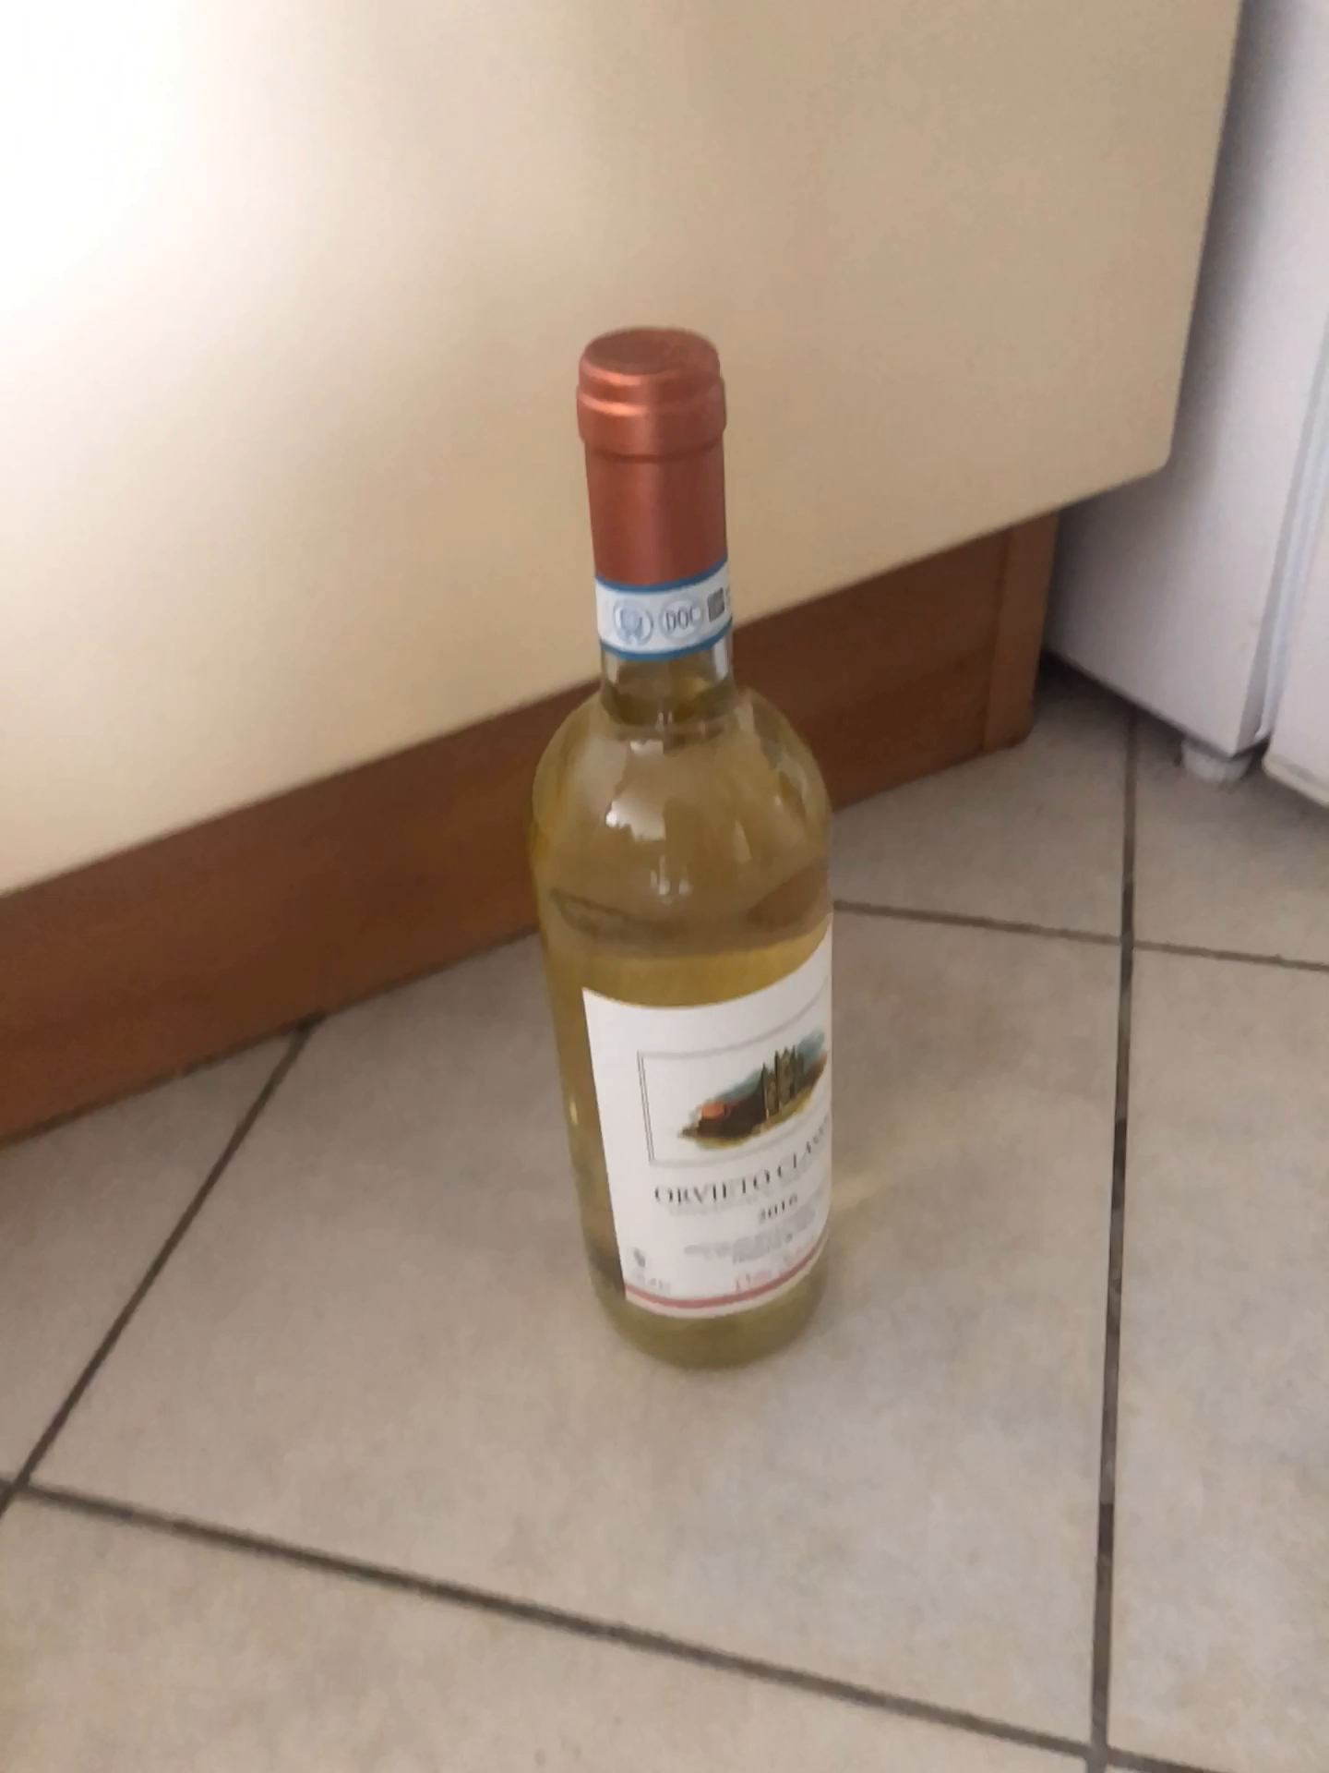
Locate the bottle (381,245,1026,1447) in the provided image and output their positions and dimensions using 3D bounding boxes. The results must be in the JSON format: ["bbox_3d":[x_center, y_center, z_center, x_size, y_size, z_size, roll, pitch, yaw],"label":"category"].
[{"bbox_3d":[0.012,0.007,0.374,0.090,0.288,0.090,-2,39,2],"label":"bottle"}]
